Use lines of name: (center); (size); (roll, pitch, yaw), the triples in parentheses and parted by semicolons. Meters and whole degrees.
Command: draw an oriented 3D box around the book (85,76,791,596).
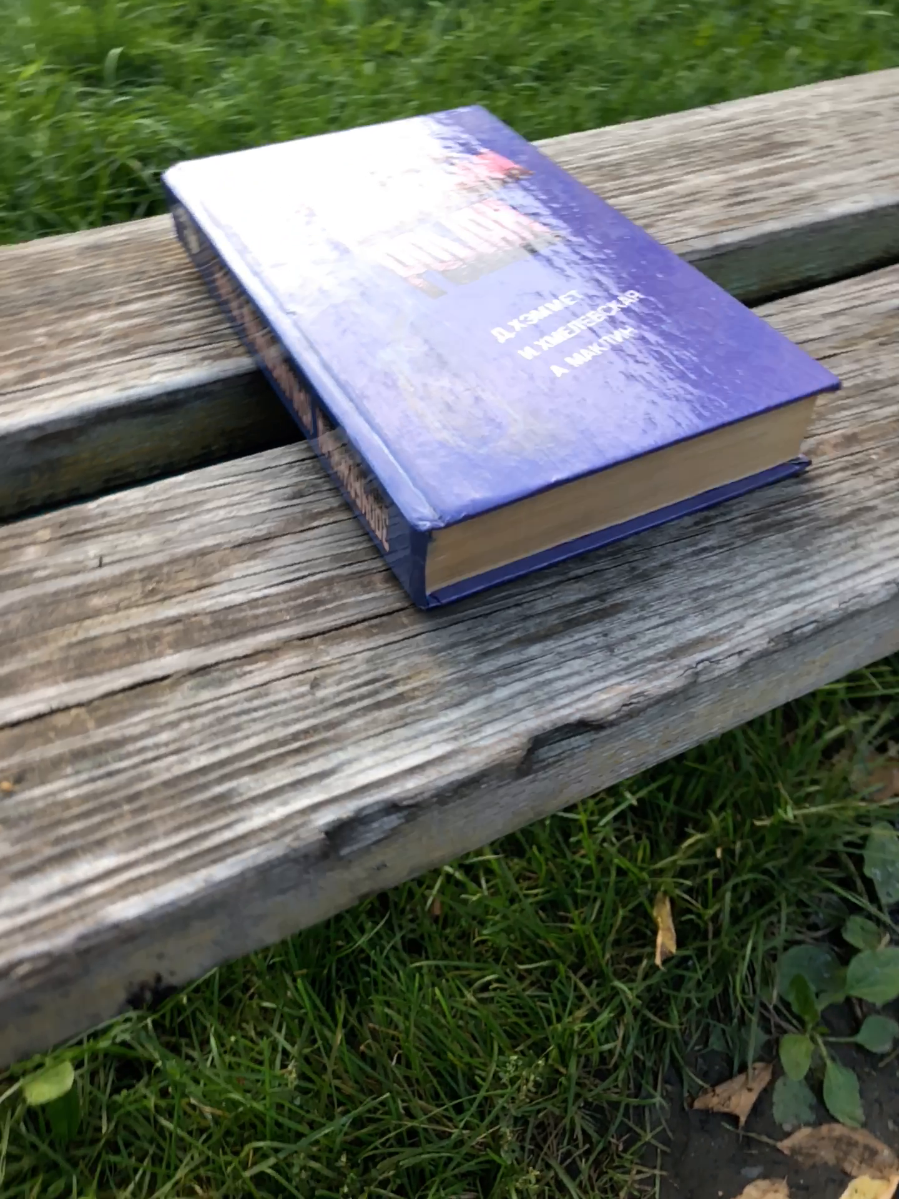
book: (-0.017, -0.100, 0.308); (0.131, 0.030, 0.205); (-21, 51, -19)
